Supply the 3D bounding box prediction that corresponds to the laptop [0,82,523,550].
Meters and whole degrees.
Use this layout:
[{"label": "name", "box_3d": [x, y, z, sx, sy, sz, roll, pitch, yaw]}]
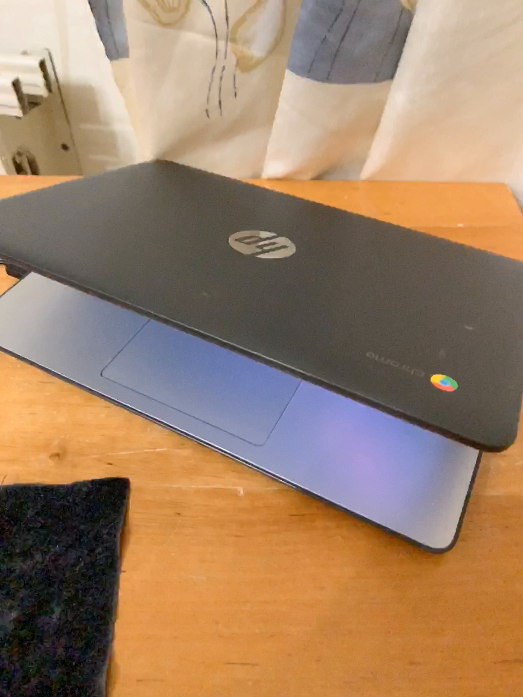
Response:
[{"label": "laptop", "box_3d": [0.000, -0.050, 0.296, 0.268, 0.066, 0.191, 21, 52, 18]}]
